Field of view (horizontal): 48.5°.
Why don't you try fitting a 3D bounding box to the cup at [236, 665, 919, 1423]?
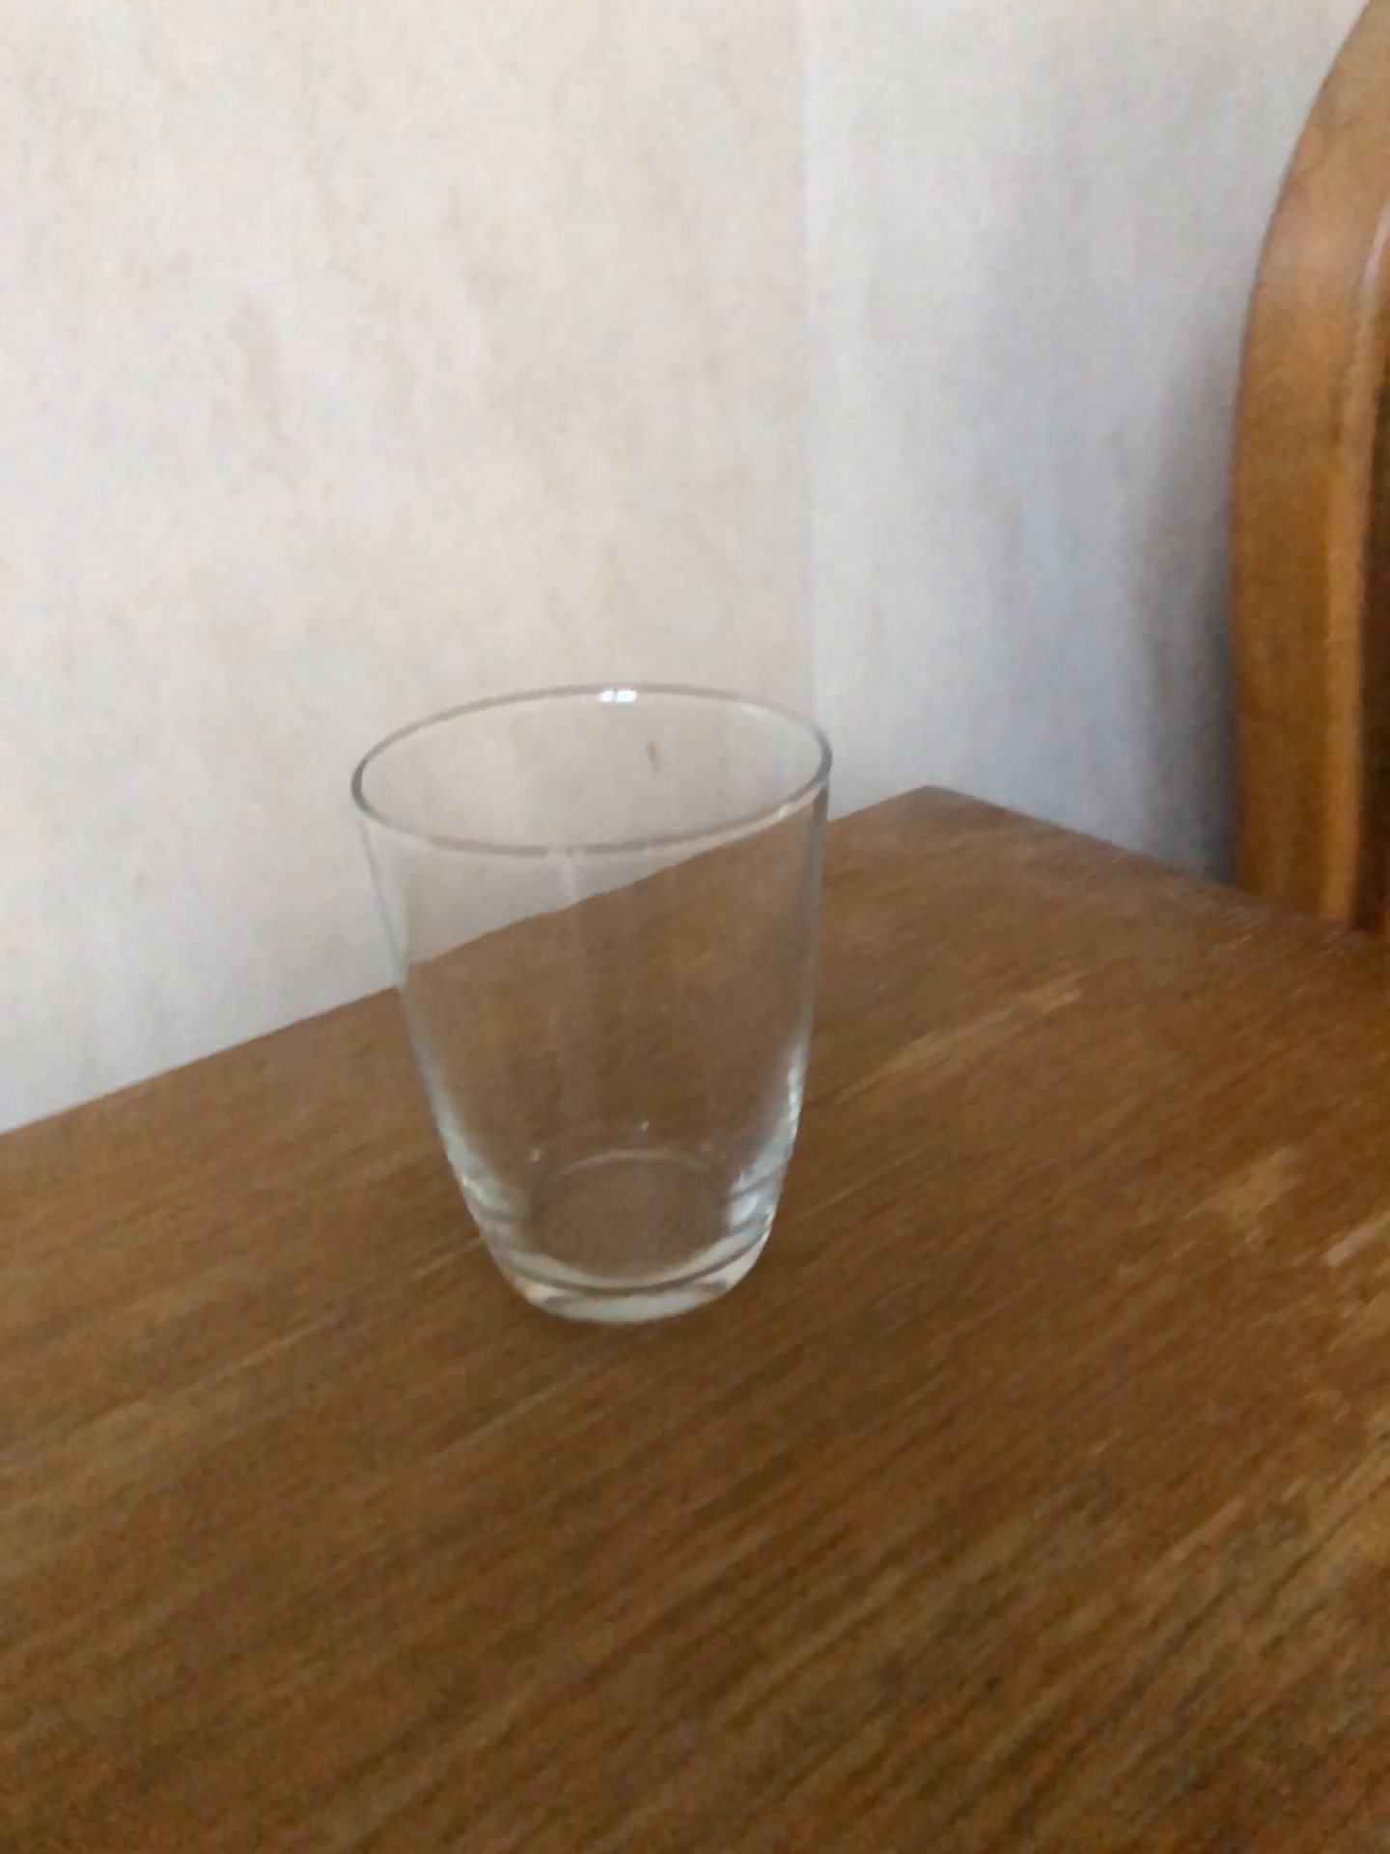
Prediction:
[{"bbox_3d":[-0.013,0.011,0.236,0.070,0.080,0.070,-2,24,1],"label":"cup"}]
